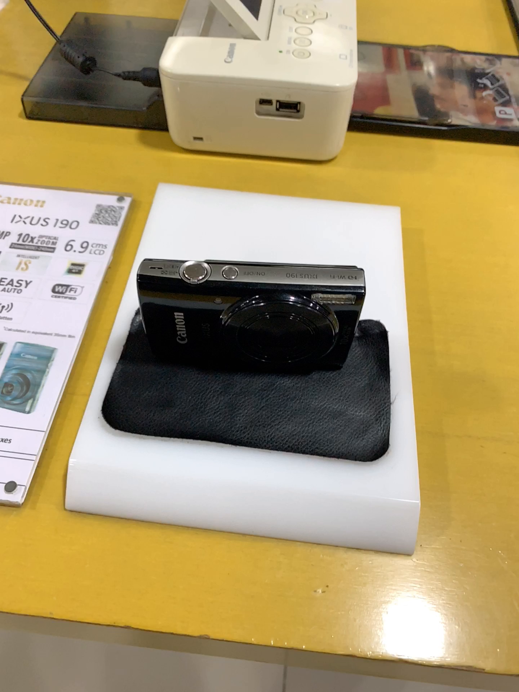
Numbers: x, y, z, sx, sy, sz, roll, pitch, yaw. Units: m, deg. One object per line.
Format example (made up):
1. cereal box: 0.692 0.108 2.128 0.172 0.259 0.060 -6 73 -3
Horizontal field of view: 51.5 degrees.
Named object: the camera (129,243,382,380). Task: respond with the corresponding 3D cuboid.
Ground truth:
1. camera: -0.002 -0.012 0.222 0.090 0.060 0.020 2 56 -1
